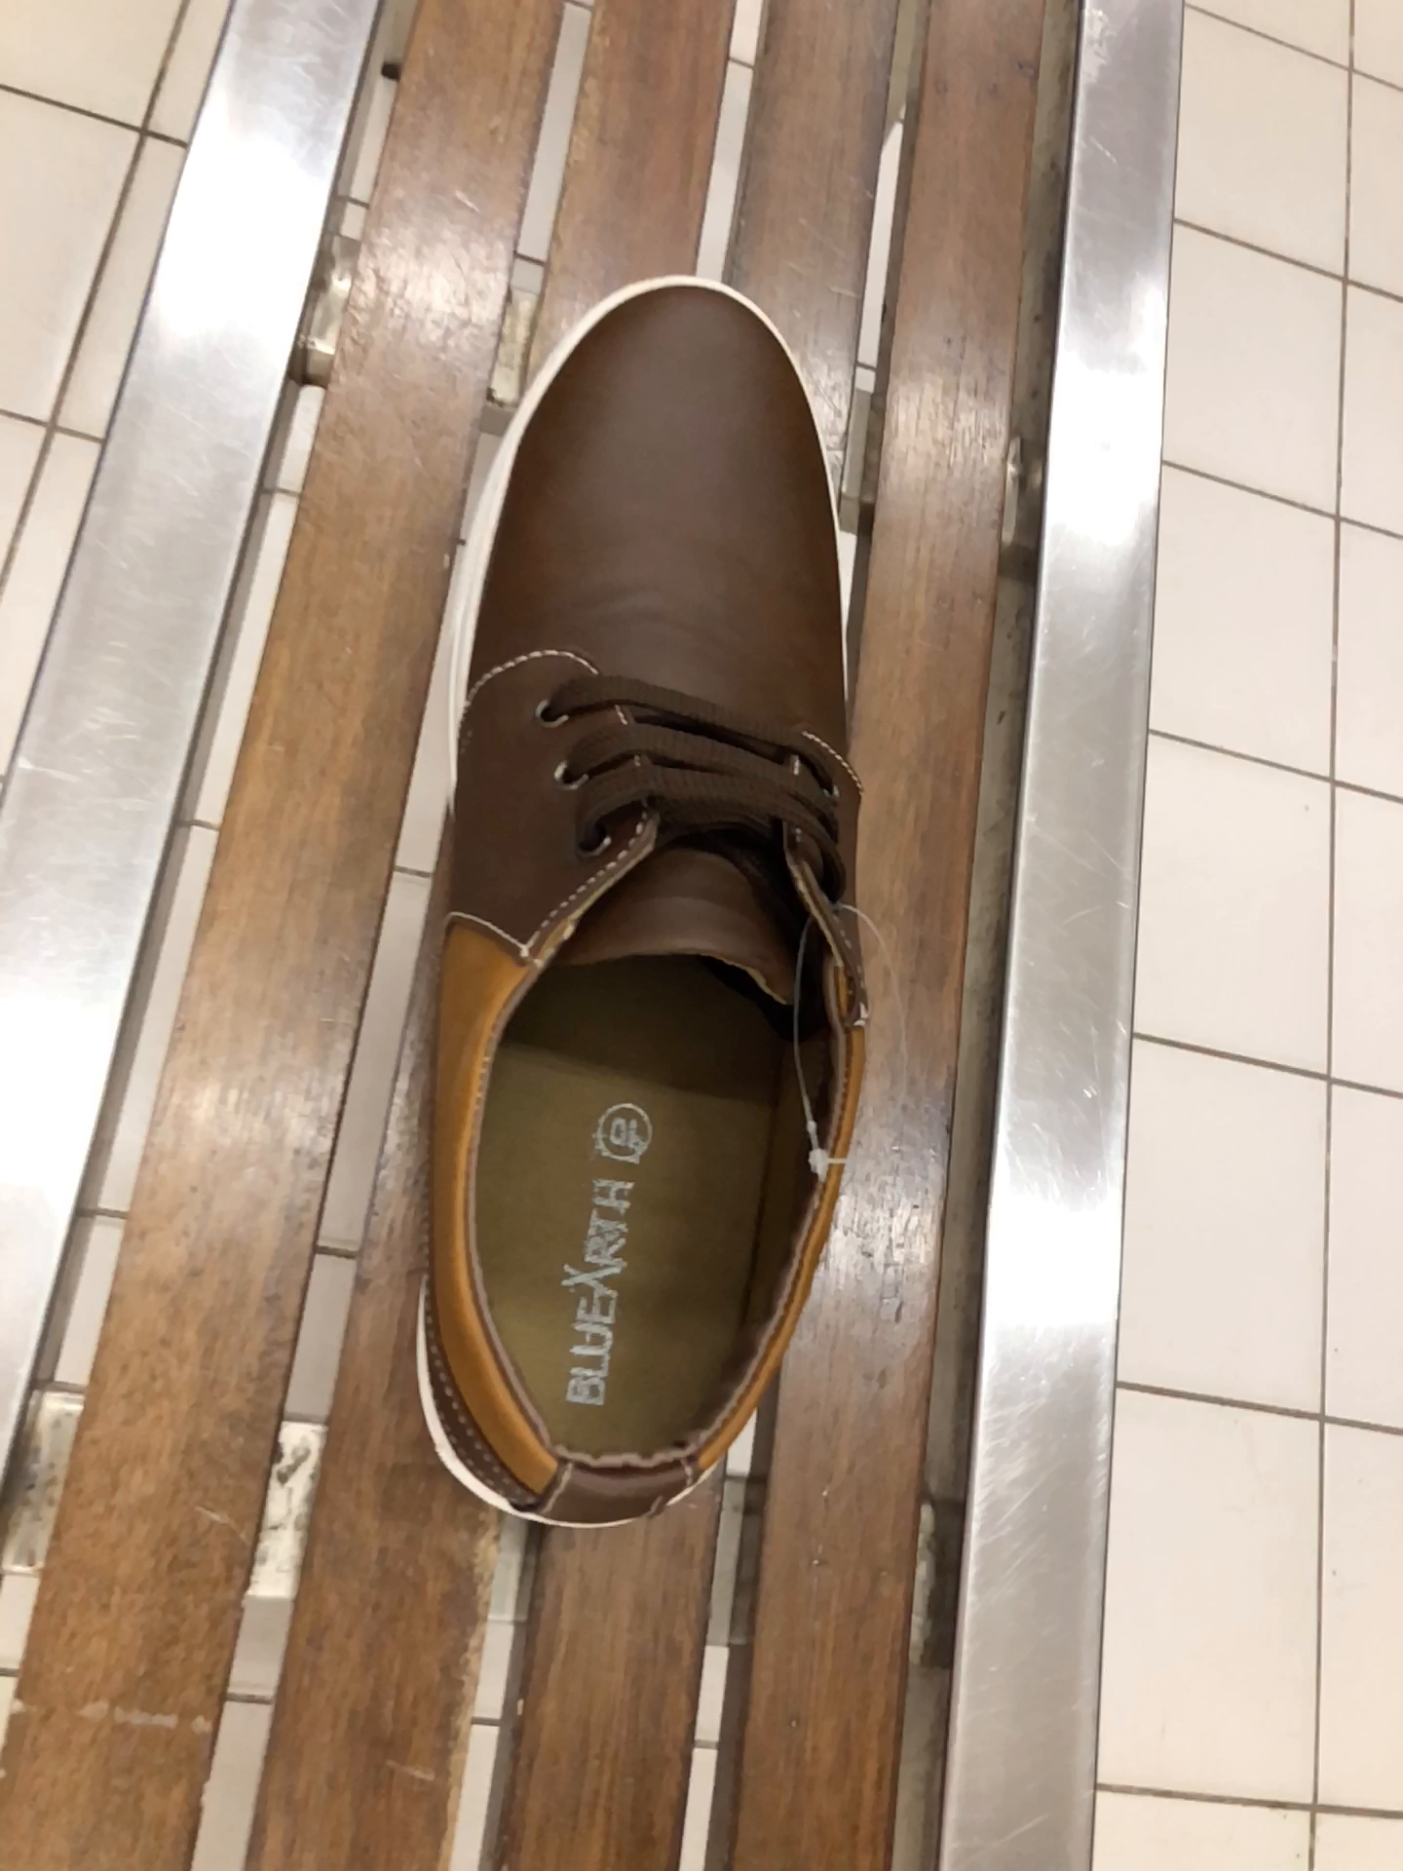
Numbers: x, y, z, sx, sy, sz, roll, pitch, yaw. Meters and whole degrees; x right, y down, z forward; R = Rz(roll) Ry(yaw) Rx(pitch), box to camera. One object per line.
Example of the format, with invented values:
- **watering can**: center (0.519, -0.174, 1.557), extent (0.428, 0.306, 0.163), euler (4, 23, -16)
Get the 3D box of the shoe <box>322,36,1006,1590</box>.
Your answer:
- **shoe**: center (-0.004, -0.031, 0.342), extent (0.100, 0.080, 0.311), euler (11, 72, -13)
